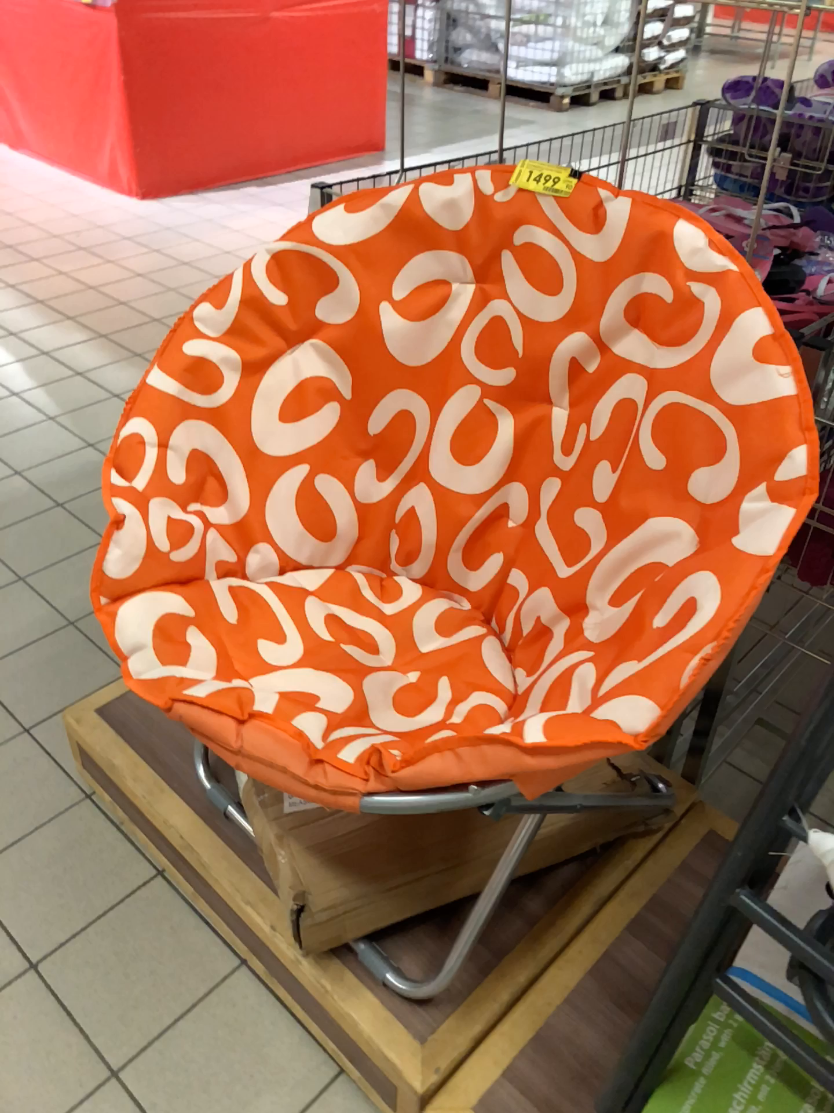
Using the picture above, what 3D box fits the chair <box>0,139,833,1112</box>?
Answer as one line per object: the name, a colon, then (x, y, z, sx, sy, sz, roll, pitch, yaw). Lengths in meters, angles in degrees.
chair: (0.049, -0.038, 1.032, 0.713, 0.605, 0.736, -27, 45, -34)
